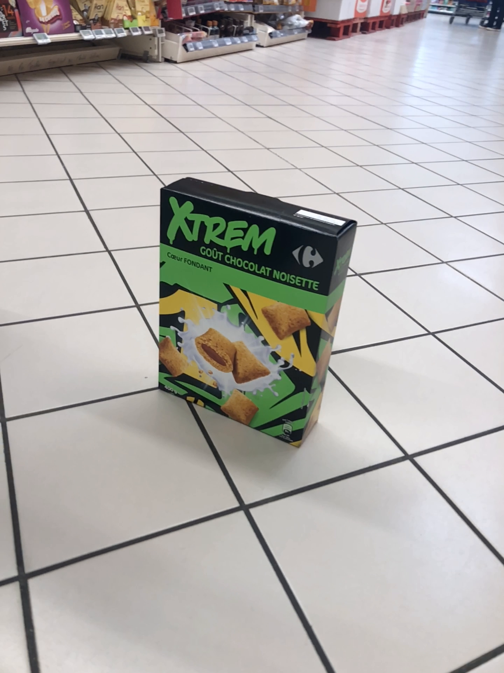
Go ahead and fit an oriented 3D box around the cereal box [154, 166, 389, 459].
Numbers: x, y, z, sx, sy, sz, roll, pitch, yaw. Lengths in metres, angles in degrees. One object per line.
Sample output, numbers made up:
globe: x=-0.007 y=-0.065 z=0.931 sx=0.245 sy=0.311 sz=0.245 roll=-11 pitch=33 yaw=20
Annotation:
cereal box: x=0.007 y=-0.027 z=0.575 sx=0.200 sy=0.238 sz=0.091 roll=21 pitch=35 yaw=22
